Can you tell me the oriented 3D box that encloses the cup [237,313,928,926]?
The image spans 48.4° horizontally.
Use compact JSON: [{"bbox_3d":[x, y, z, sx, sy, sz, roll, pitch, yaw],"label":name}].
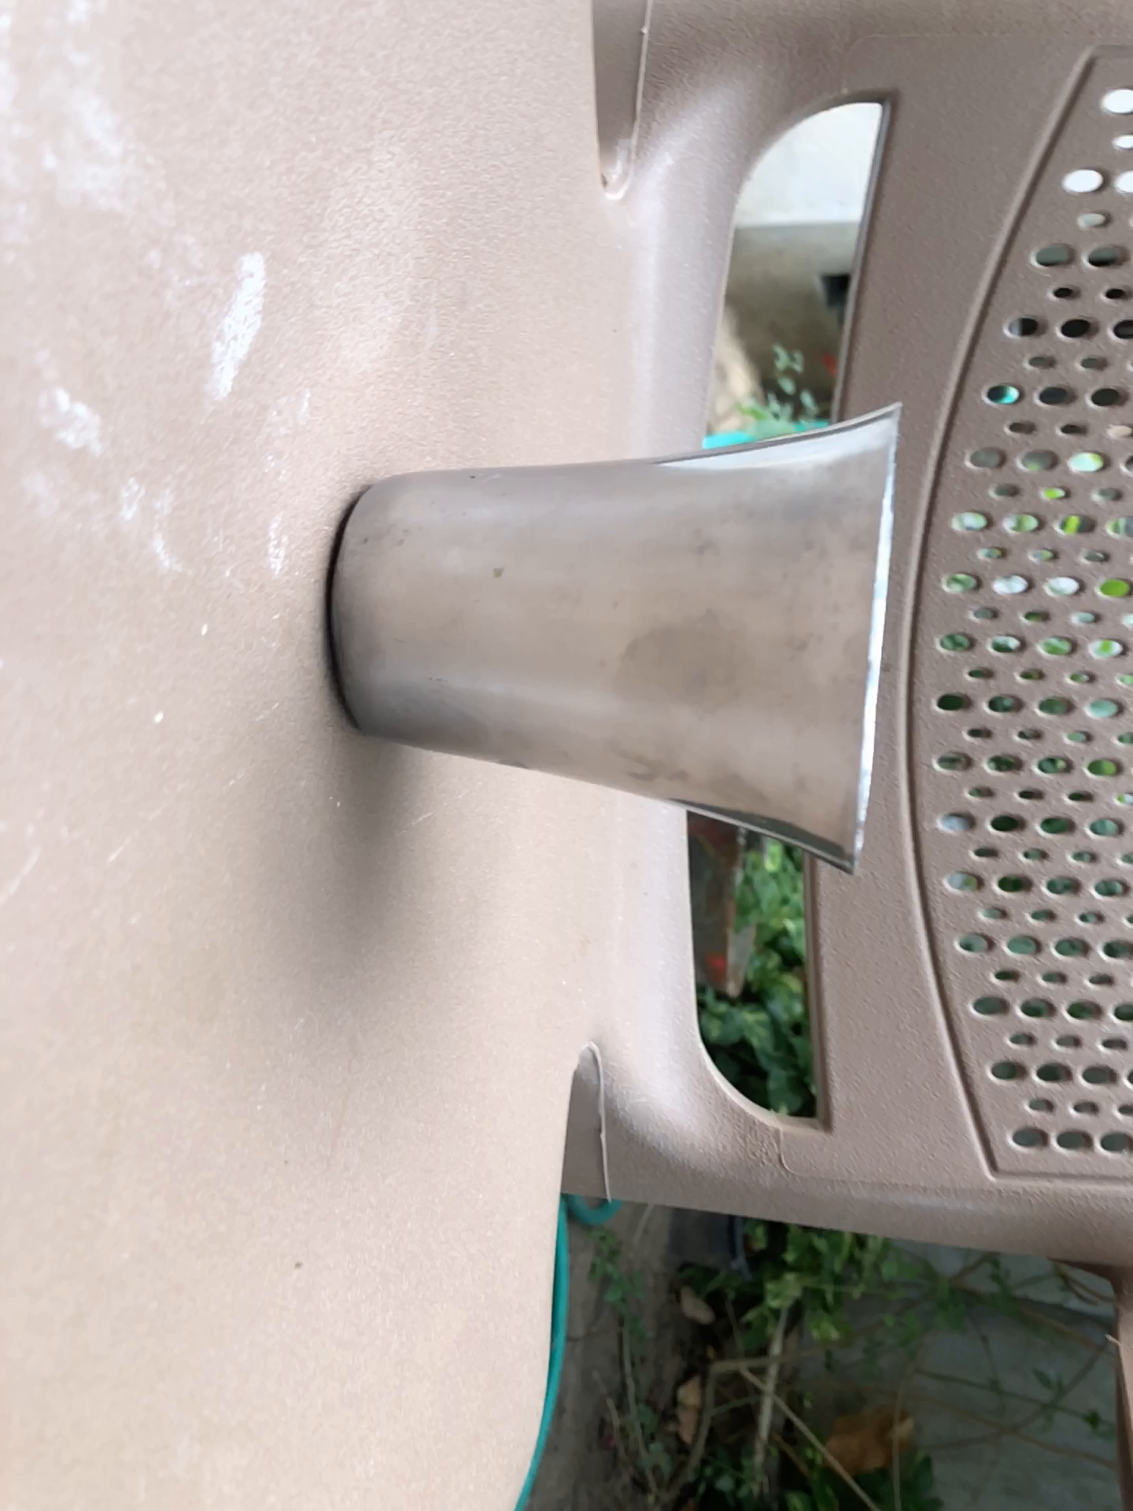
[{"bbox_3d":[0.012,-0.026,0.235,0.070,0.099,0.080,71,29,-50],"label":"cup"}]
